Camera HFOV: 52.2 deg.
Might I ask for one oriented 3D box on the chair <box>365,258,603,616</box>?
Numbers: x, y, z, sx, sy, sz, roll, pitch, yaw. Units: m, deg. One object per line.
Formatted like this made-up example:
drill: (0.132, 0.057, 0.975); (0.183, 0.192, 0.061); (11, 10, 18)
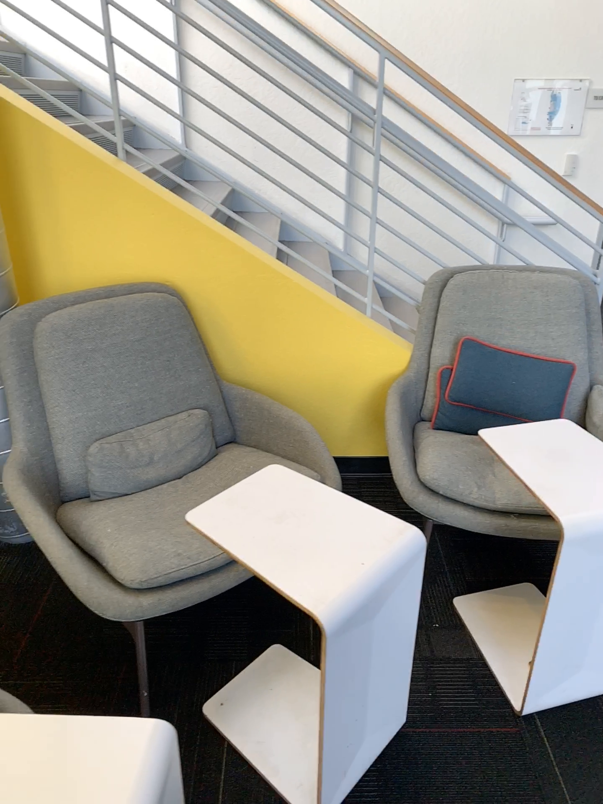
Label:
chair: (0.725, 0.044, 2.251); (0.870, 0.945, 0.884); (4, 23, 10)

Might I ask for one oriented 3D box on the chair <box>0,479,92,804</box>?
chair: (-0.812, 0.742, 0.643); (0.870, 0.925, 0.804); (-6, 26, -7)

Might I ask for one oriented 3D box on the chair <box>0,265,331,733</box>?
chair: (-0.526, 0.188, 2.038); (0.892, 1.015, 0.843); (-22, 31, -37)
